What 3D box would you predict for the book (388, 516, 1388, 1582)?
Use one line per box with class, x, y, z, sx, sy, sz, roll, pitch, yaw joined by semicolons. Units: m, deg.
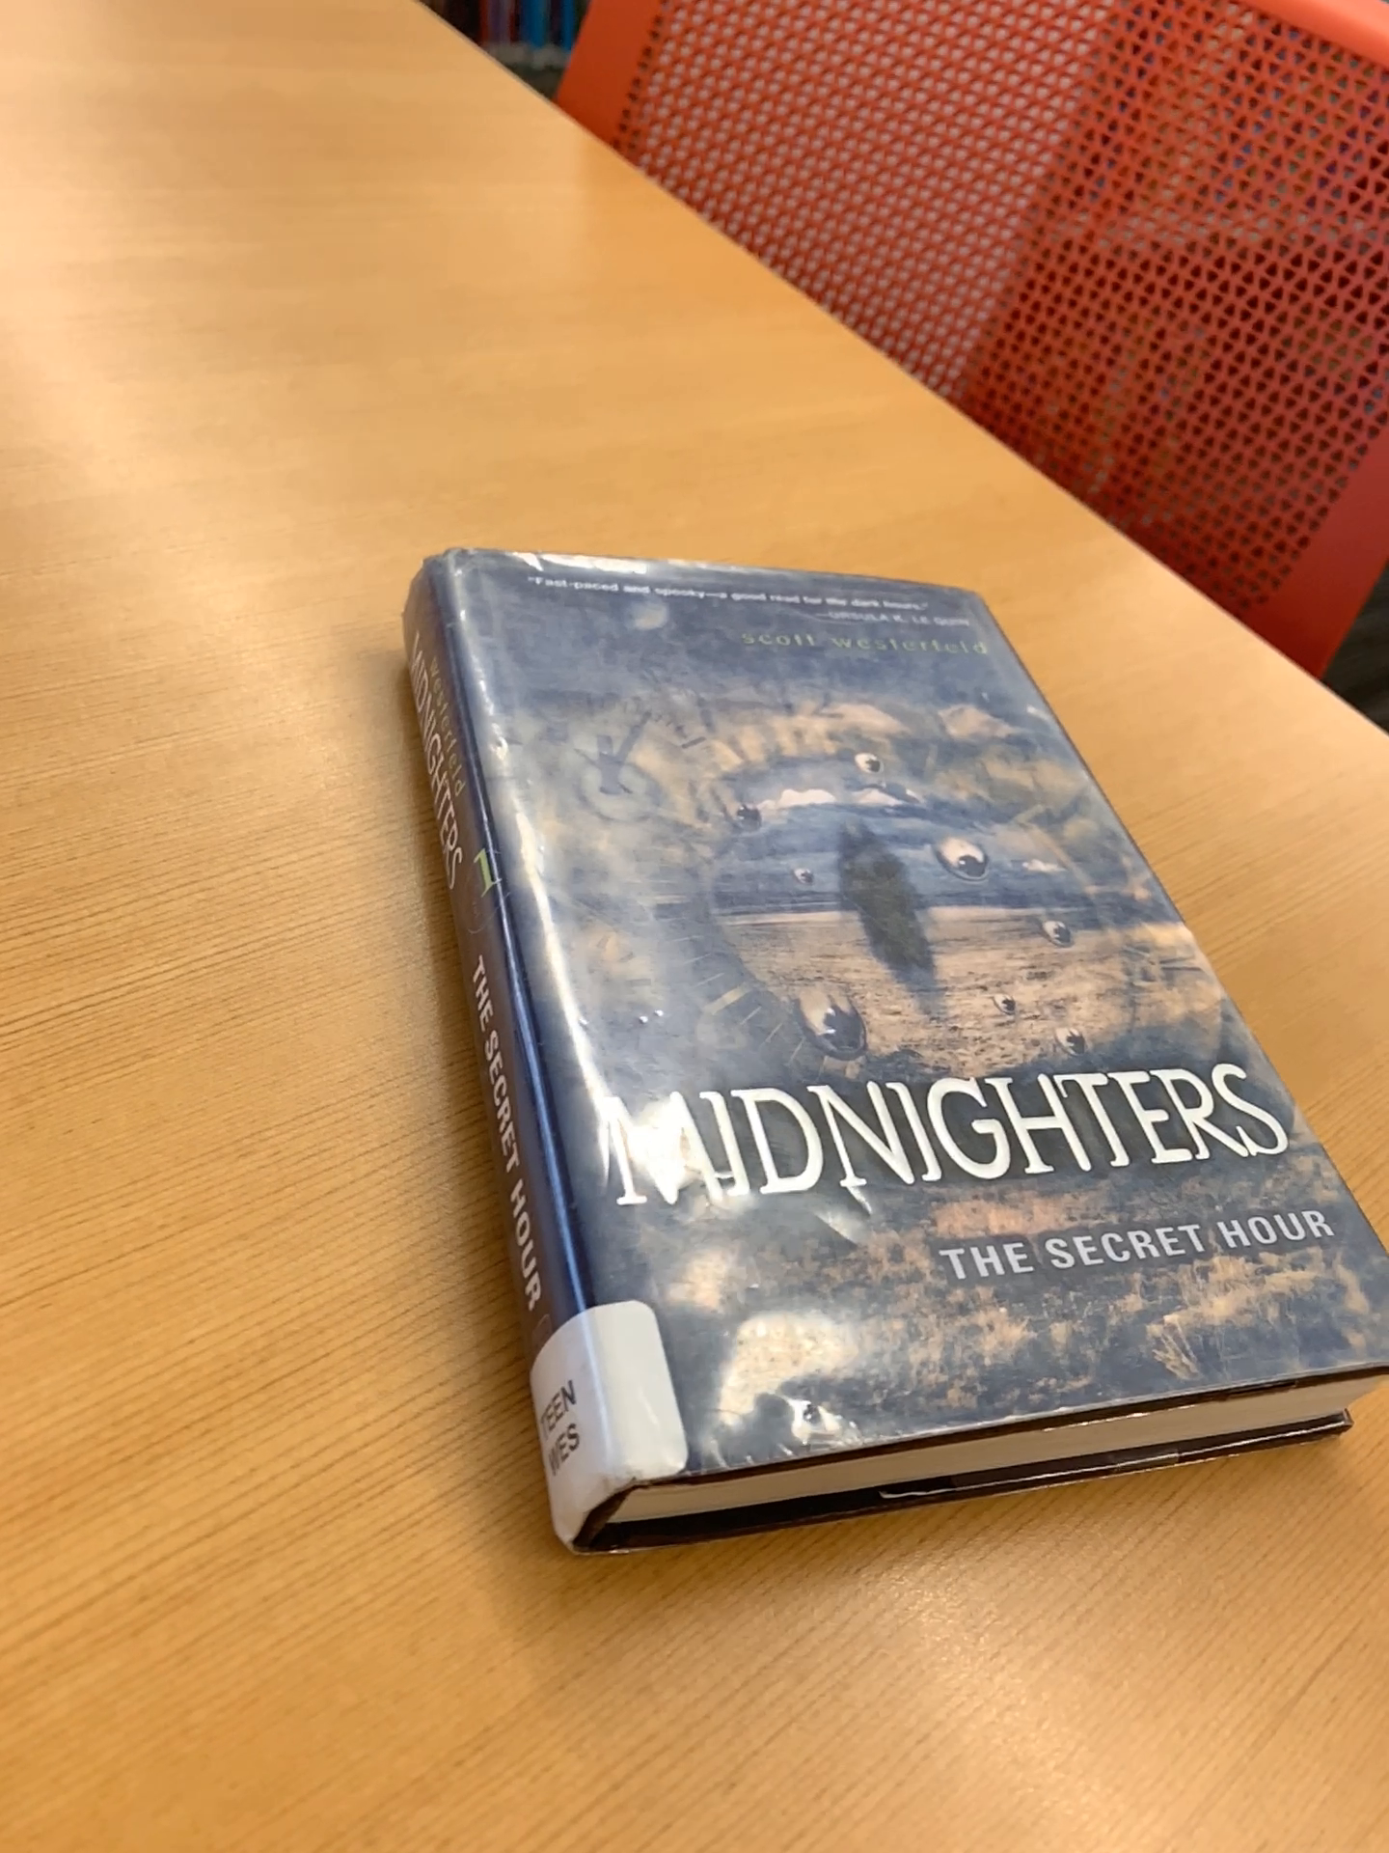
book;0.028;0.001;0.289;0.150;0.040;0.215;-1;48;-20
